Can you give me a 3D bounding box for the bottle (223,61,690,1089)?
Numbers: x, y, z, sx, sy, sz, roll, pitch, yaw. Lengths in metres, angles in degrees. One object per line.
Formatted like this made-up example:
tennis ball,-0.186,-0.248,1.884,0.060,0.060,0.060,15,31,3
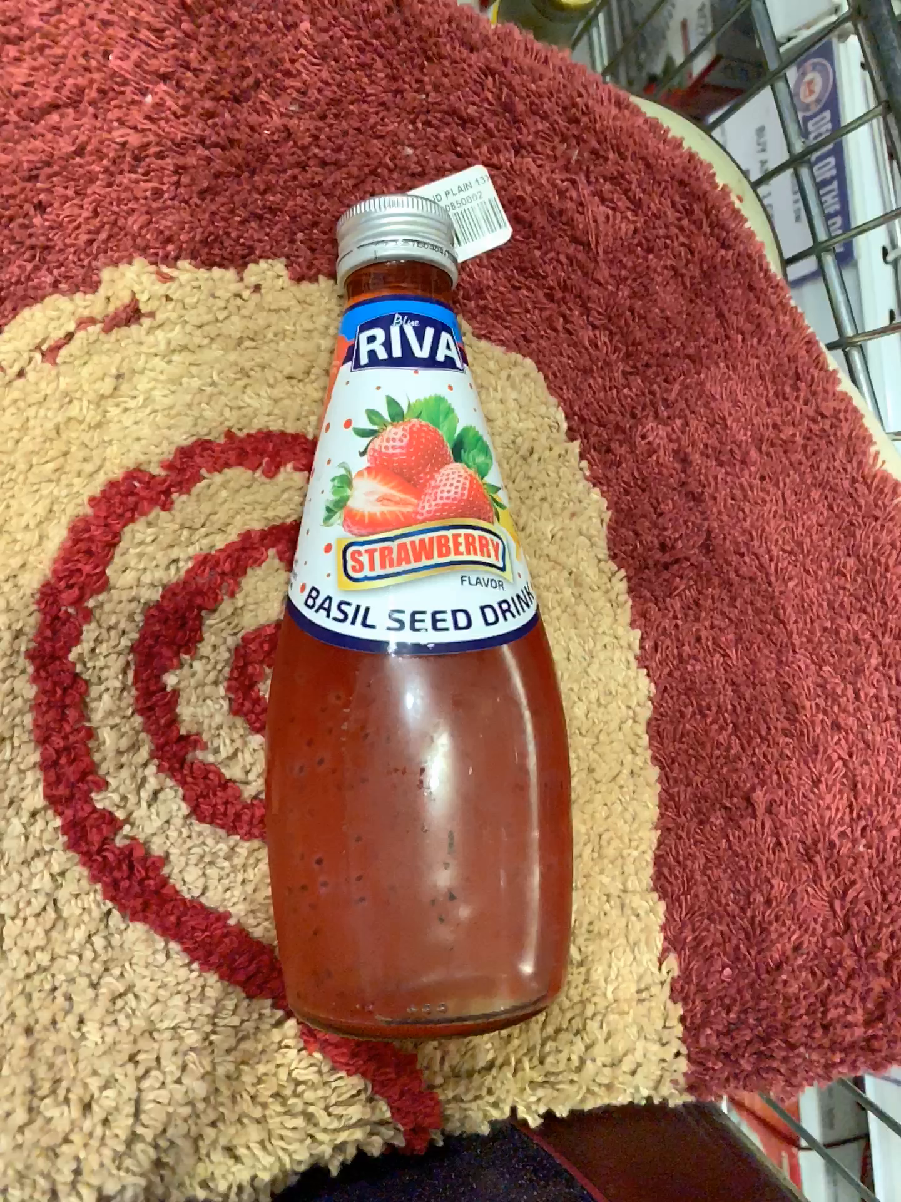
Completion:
bottle,-0.005,-0.006,0.178,0.070,0.050,0.160,0,81,-18
